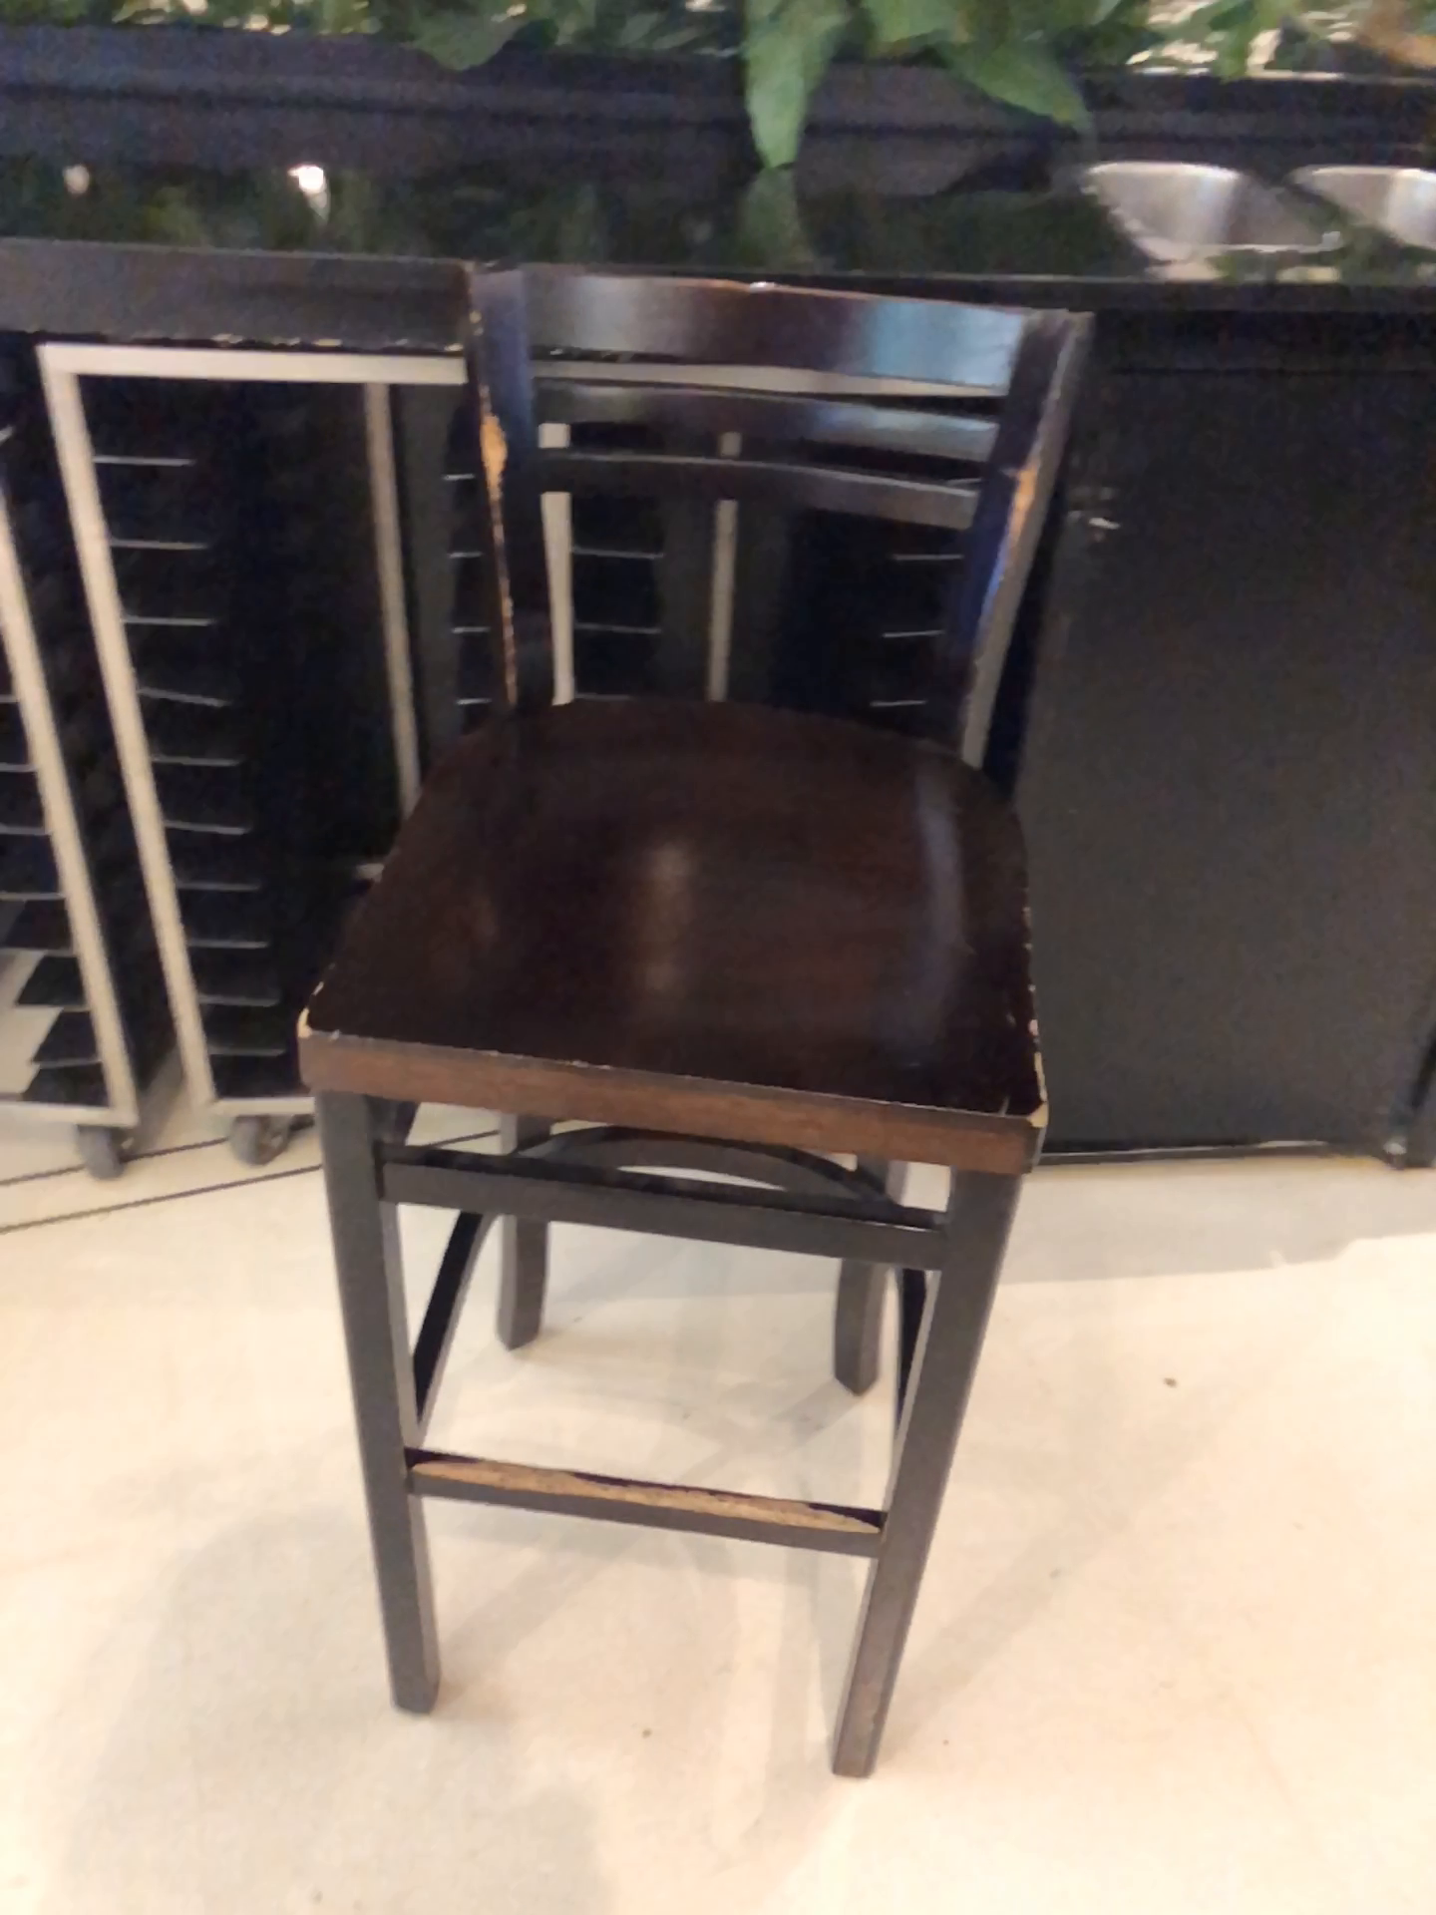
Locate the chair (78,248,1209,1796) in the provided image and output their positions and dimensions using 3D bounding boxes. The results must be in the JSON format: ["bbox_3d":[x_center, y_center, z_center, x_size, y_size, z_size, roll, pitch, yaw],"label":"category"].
[{"bbox_3d":[-0.023,0.080,1.058,0.440,0.913,0.453,6,37,5],"label":"chair"}]
